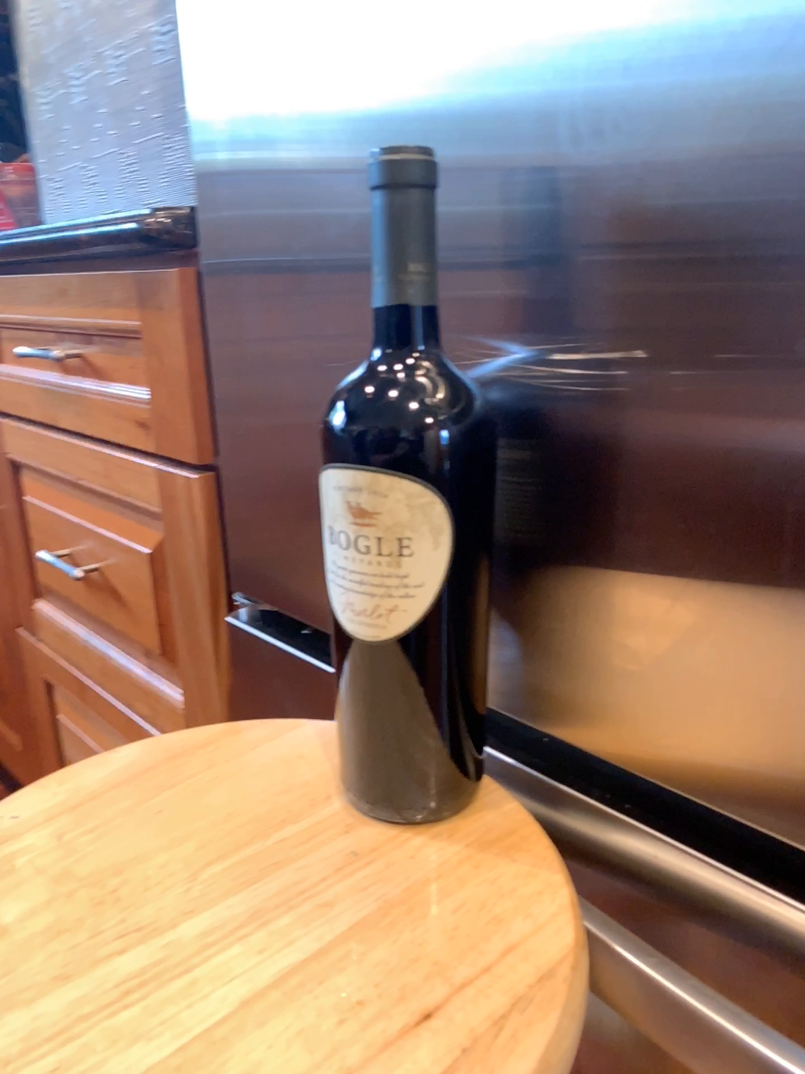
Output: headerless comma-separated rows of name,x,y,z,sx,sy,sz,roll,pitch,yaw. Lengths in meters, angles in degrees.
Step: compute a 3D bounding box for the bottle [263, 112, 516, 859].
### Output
bottle,0.000,-0.016,0.394,0.080,0.319,0.080,-1,17,0
